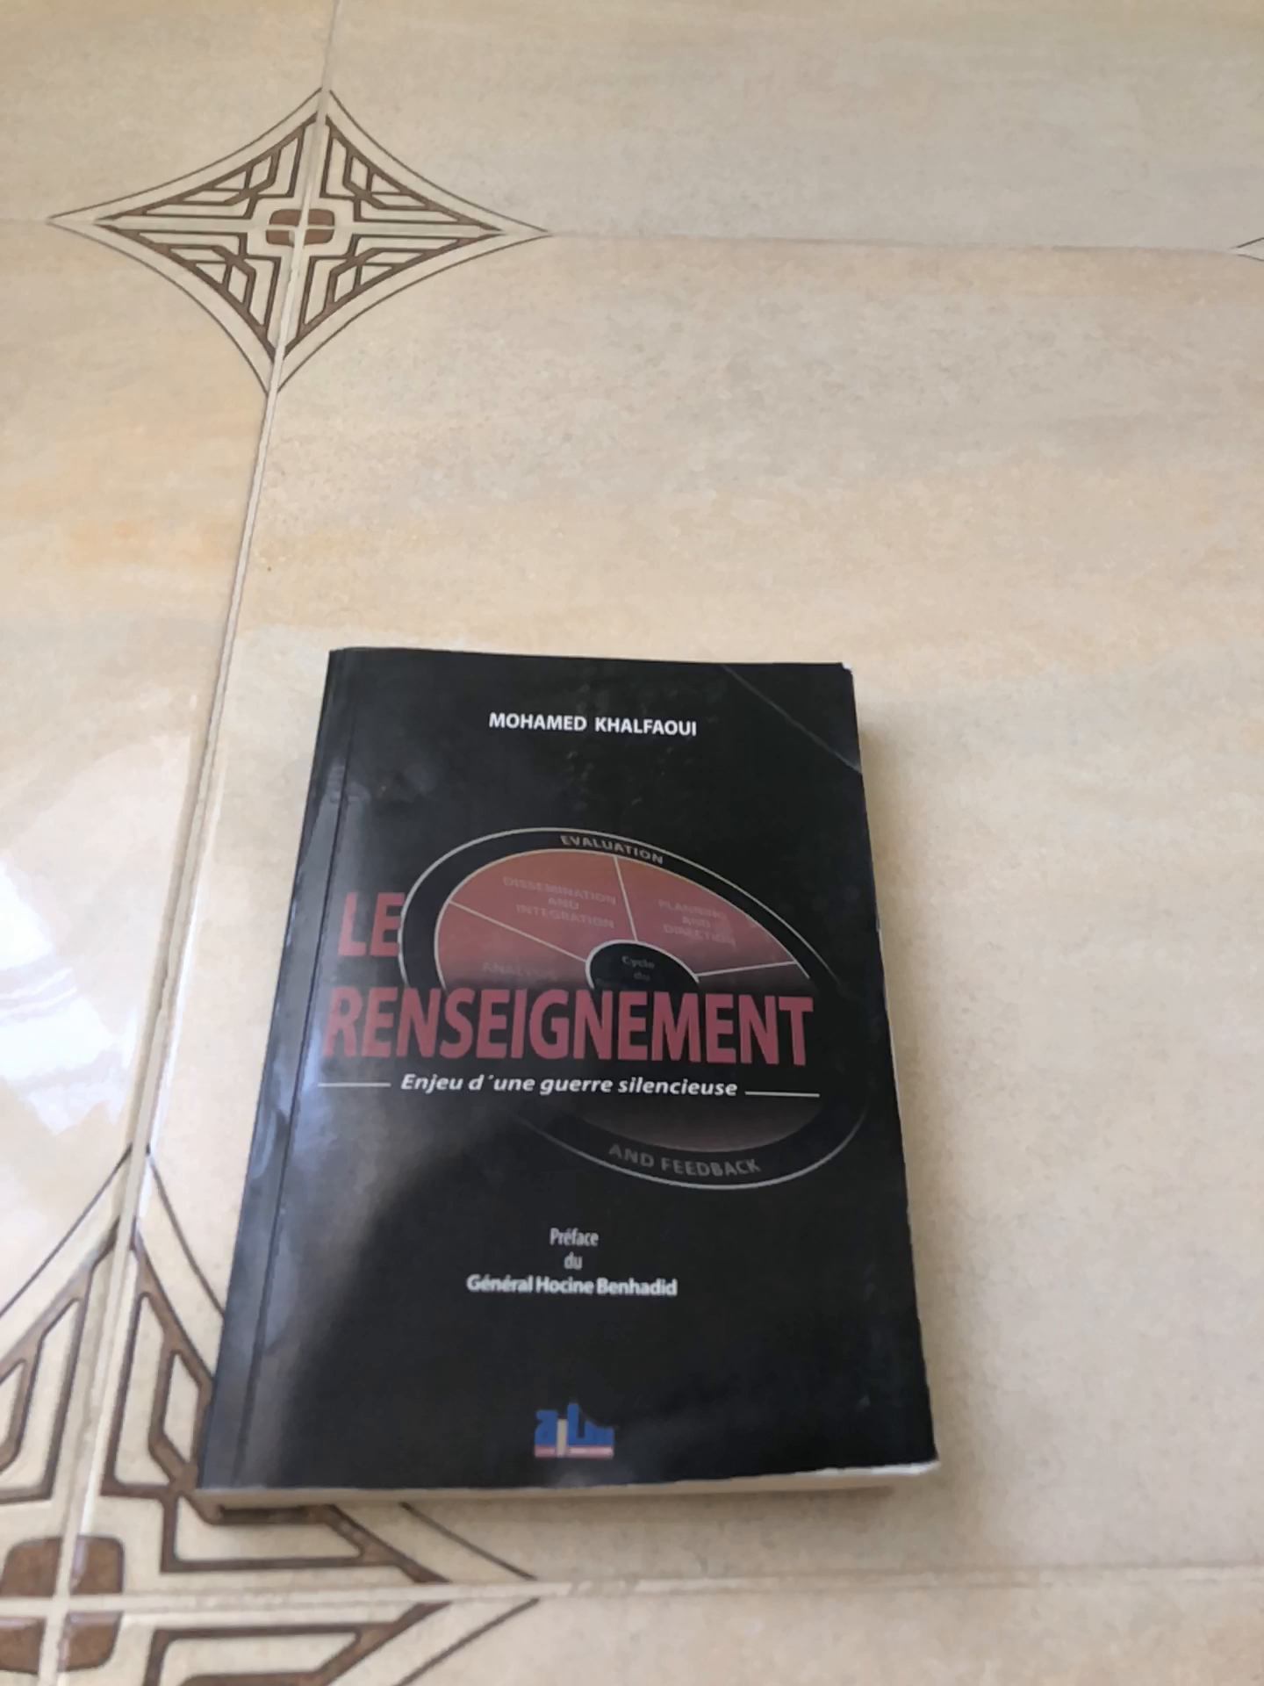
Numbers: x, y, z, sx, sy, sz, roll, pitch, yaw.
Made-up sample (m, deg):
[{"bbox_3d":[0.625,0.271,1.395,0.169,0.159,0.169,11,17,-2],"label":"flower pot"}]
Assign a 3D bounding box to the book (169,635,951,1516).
[{"bbox_3d":[-0.015,0.044,0.327,0.146,0.037,0.201,1,59,-5],"label":"book"}]
